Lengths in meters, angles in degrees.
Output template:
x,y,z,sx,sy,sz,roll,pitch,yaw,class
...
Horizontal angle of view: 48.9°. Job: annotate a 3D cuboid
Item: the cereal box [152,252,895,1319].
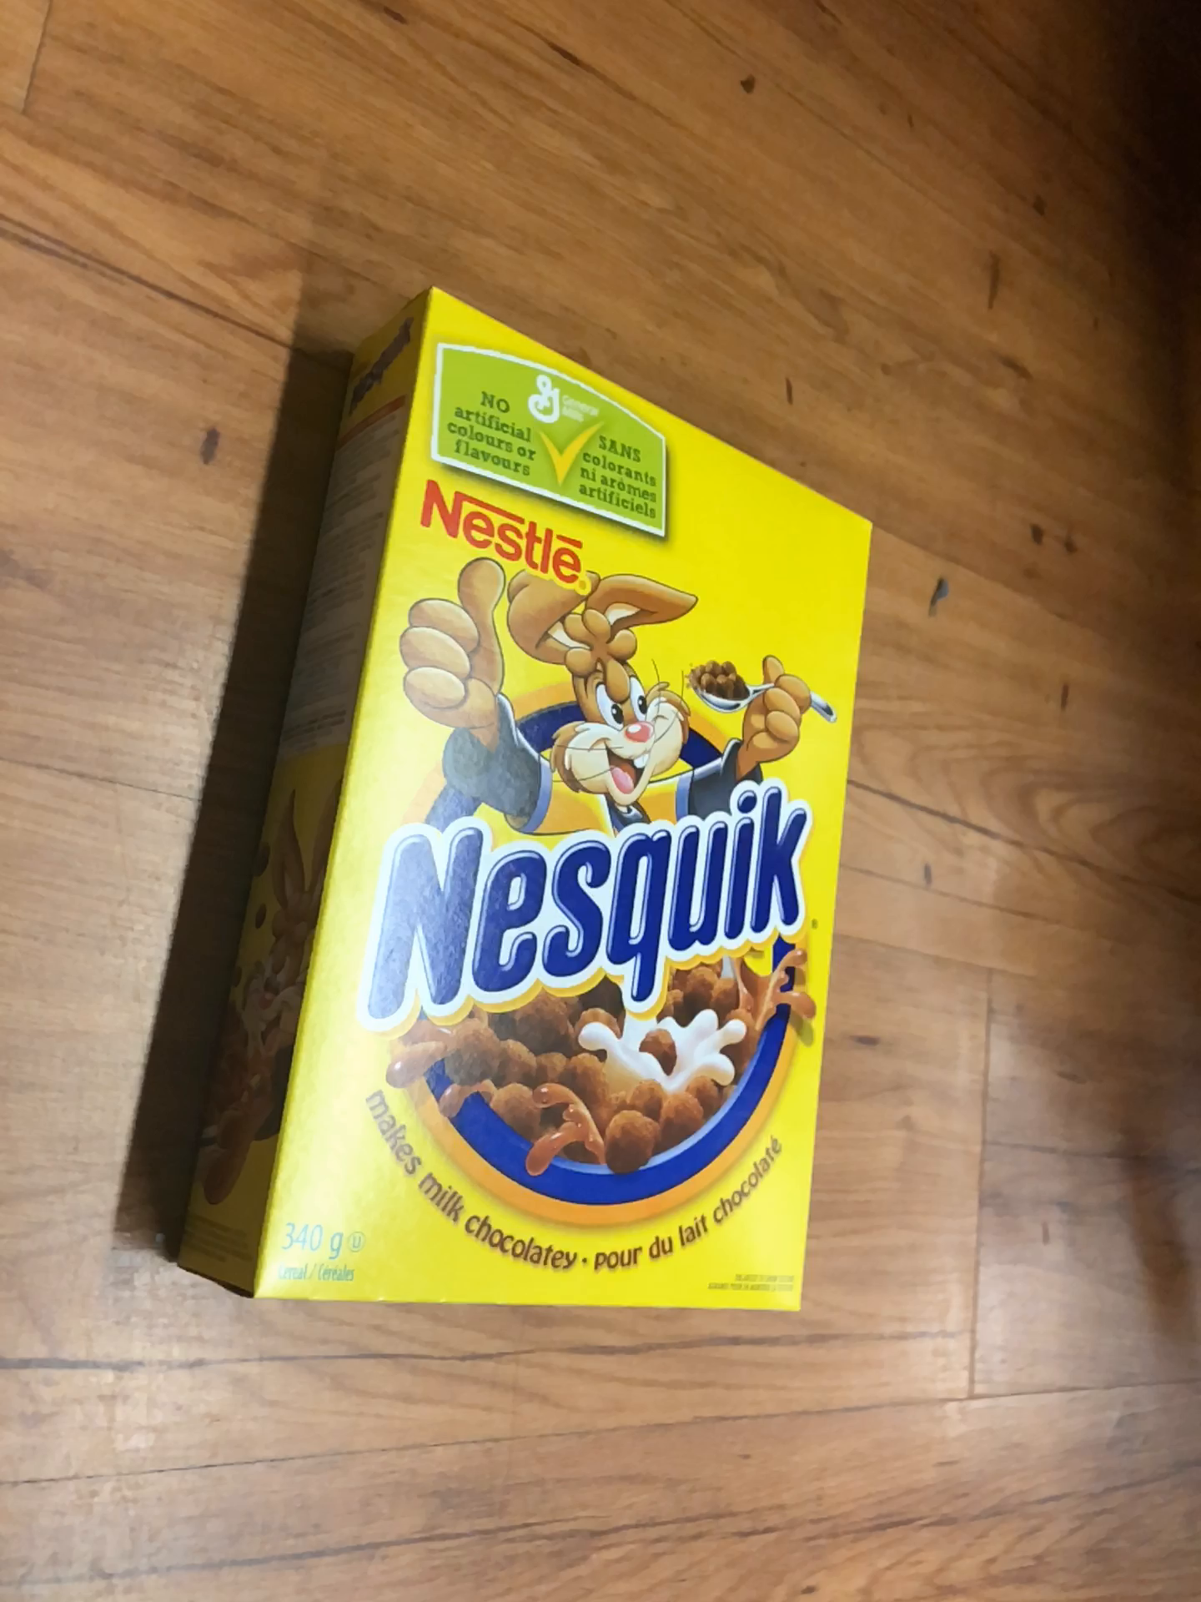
x,y,z,sx,sy,sz,roll,pitch,yaw,class
-0.007,0.009,0.429,0.201,0.060,0.290,16,76,-35,cereal box
